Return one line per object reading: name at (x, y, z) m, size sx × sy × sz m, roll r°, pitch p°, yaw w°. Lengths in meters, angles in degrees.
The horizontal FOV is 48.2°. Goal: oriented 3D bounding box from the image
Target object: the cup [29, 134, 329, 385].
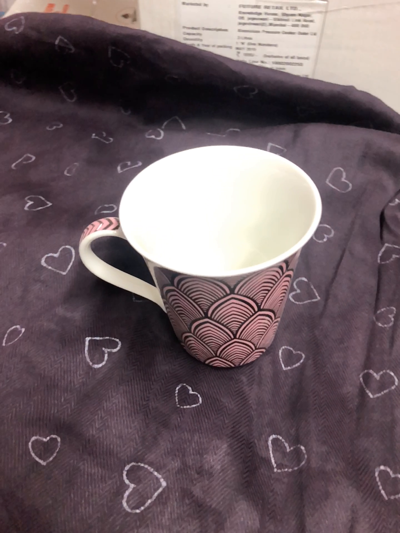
cup at (-0.005, -0.001, 0.245) m, size 0.120 × 0.099 × 0.091 m, roll -2°, pitch 48°, yaw 3°
